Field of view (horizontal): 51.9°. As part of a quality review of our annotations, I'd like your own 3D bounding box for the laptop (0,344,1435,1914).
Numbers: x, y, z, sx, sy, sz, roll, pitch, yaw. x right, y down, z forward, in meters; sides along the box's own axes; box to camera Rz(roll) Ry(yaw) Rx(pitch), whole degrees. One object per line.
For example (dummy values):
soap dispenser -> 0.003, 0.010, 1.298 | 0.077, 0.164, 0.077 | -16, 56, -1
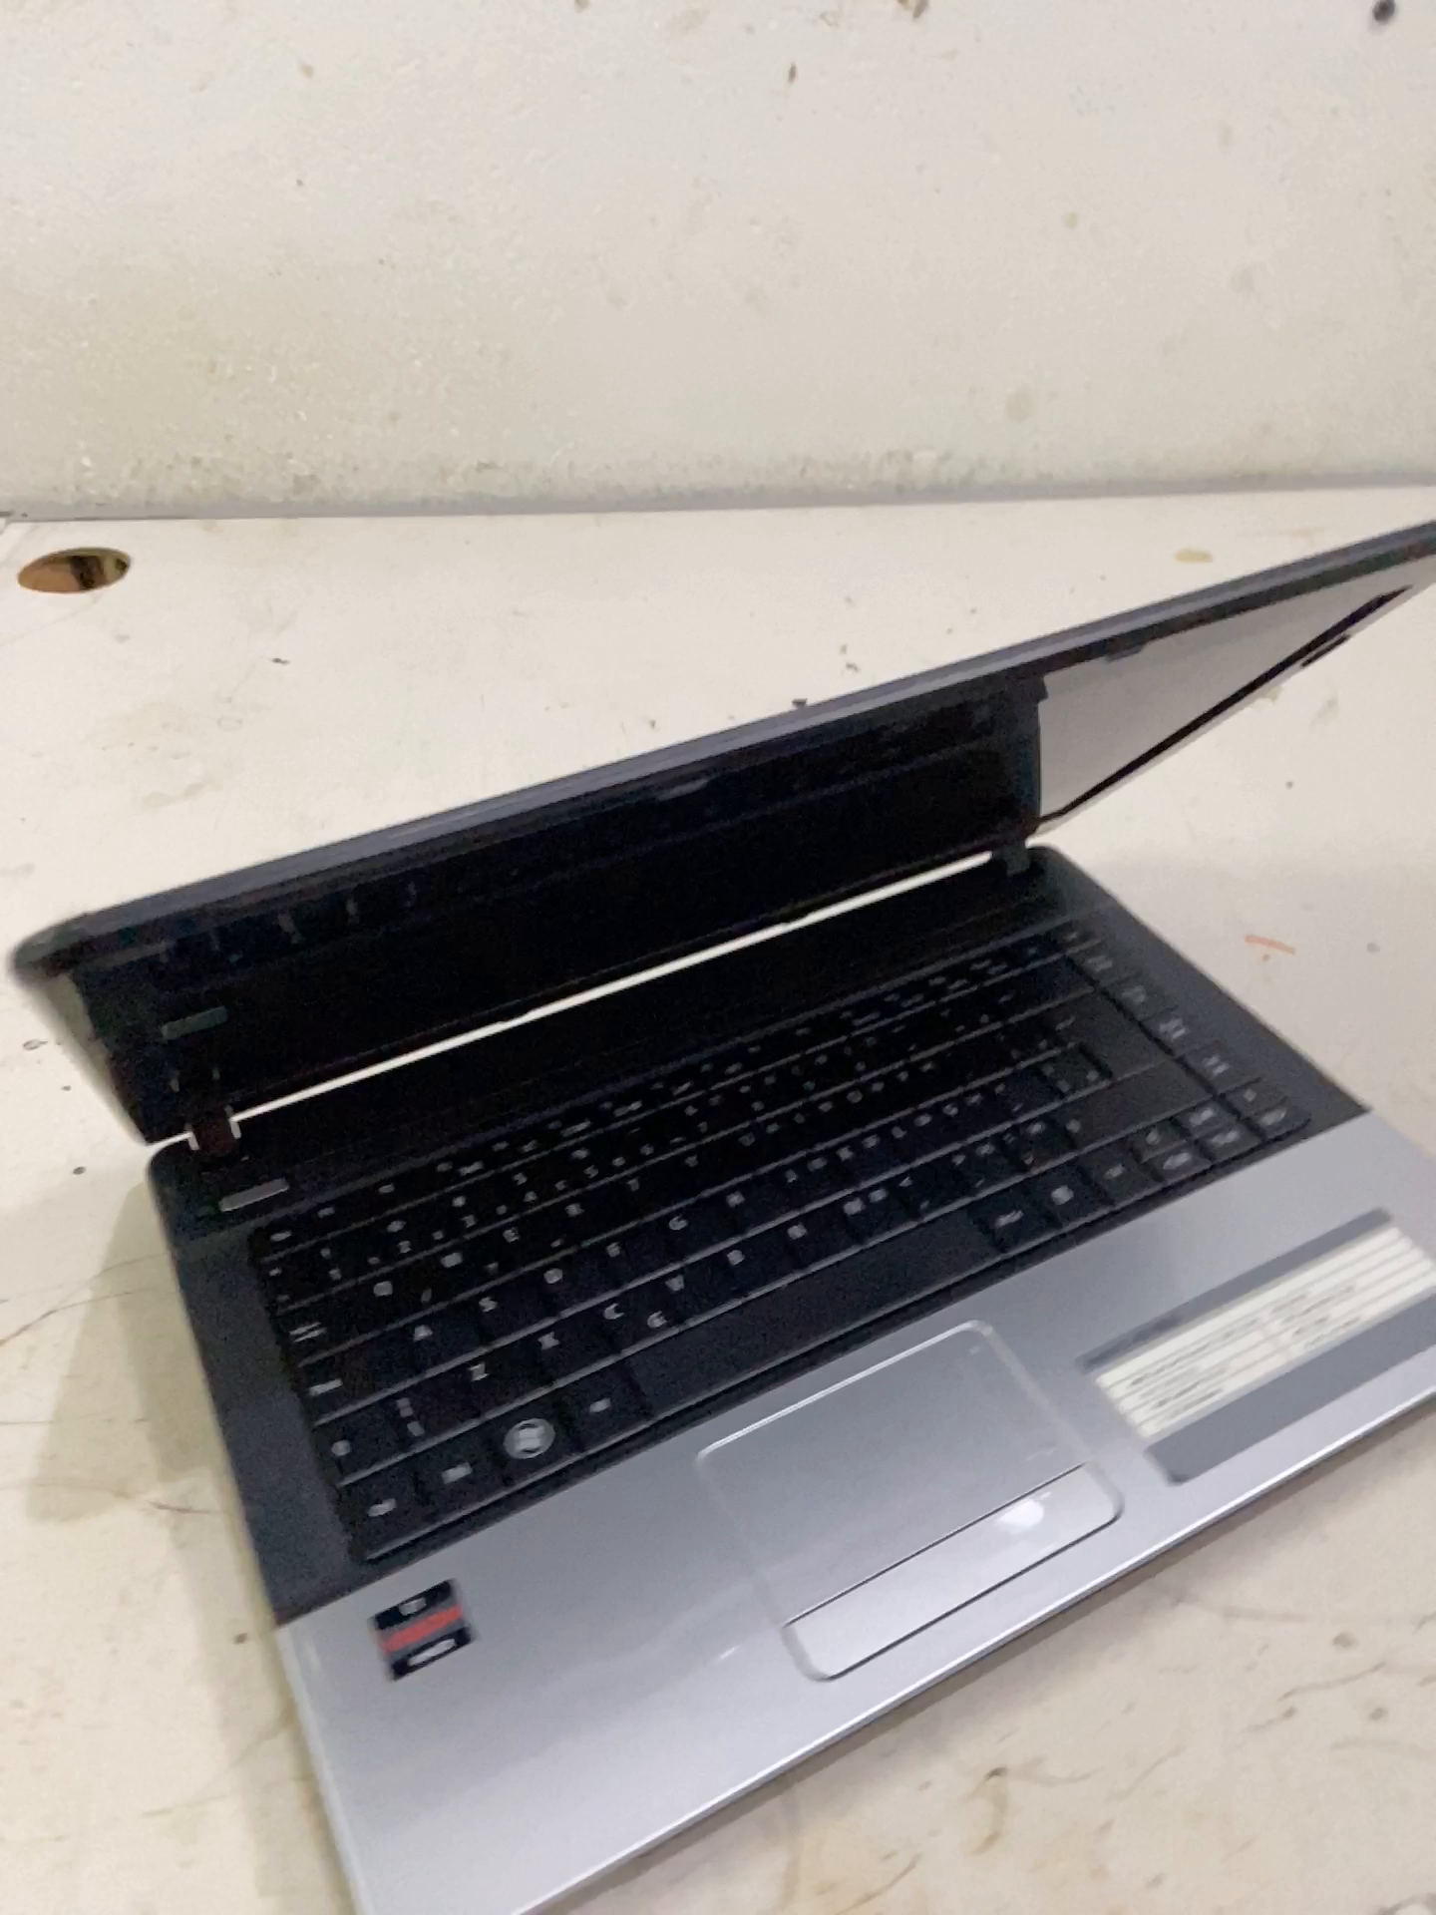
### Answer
laptop -> 0.031, 0.004, 0.364 | 0.334, 0.184, 0.239 | -19, 43, -21
